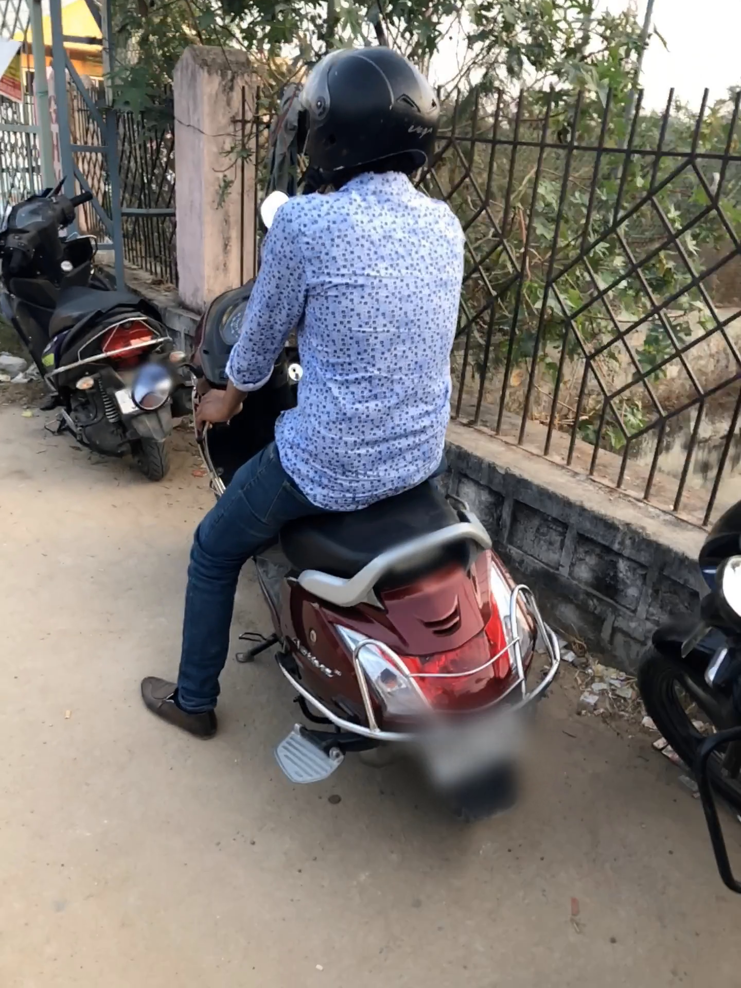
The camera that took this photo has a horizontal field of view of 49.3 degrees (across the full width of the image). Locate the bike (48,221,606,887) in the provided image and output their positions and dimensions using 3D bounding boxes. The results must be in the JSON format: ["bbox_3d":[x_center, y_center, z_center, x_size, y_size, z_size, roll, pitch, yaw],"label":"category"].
[{"bbox_3d":[-0.288,-0.042,2.001,0.577,0.963,1.493,-9,29,-30],"label":"bike"}]
